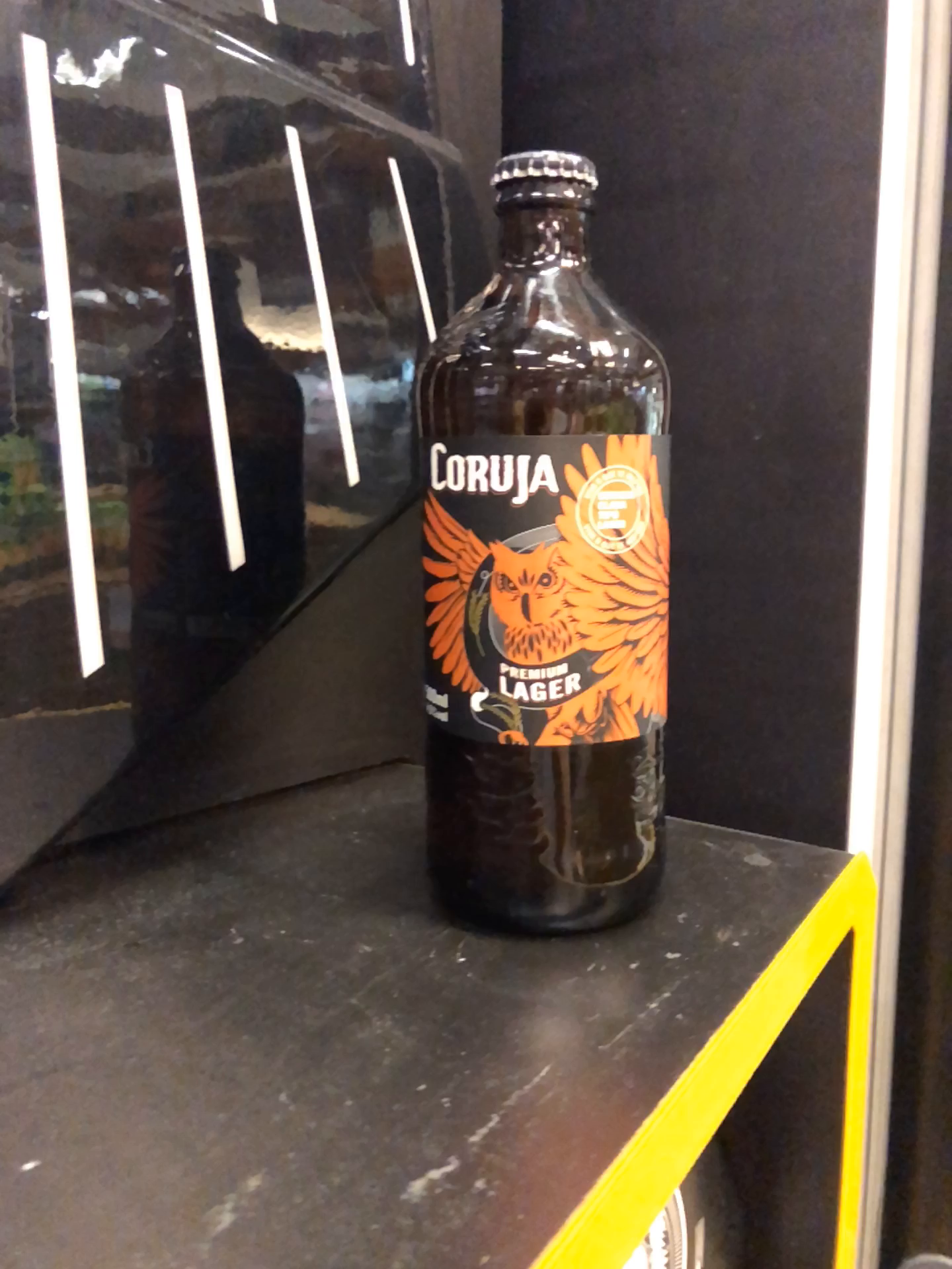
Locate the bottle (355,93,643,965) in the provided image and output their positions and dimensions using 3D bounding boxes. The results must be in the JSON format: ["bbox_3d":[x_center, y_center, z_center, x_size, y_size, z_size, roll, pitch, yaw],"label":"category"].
[{"bbox_3d":[0.011,-0.026,0.307,0.070,0.219,0.070,-1,8,0],"label":"bottle"}]
